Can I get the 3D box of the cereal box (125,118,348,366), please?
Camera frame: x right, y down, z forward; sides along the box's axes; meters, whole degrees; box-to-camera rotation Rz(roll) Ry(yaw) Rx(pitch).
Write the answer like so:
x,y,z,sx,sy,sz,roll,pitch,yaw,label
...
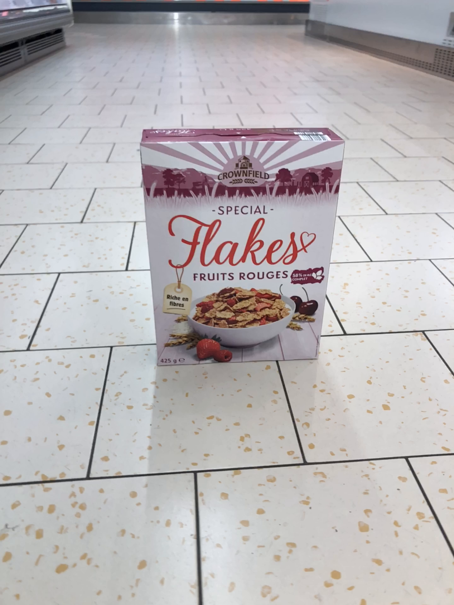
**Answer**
x,y,z,sx,sy,sz,roll,pitch,yaw,label
0.009,-0.057,0.539,0.200,0.258,0.060,-2,30,-3,cereal box
